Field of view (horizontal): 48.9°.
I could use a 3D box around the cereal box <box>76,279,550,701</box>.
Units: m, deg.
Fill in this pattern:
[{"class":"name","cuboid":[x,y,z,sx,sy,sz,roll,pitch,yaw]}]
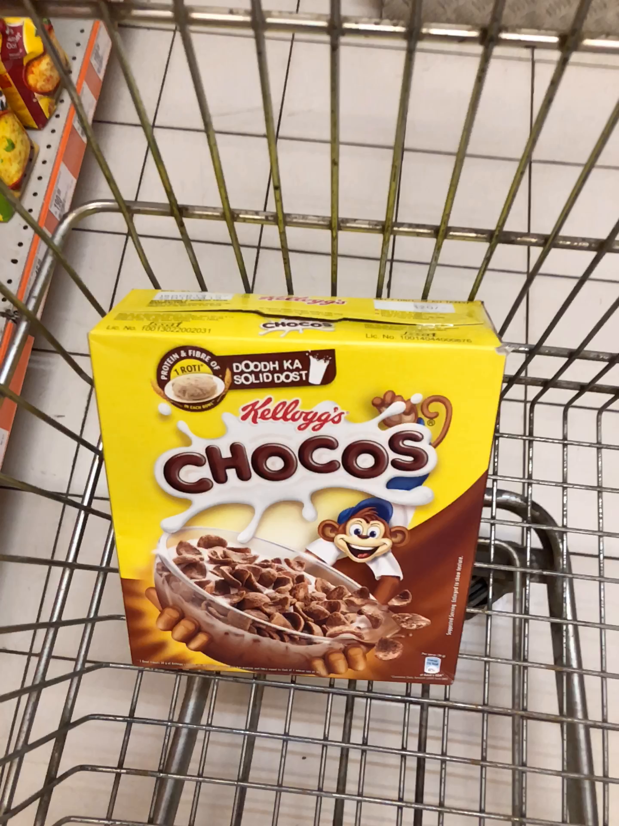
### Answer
[{"class":"cereal box","cuboid":[-0.001,0.043,0.348,0.190,0.070,0.200,3,117,2]}]
